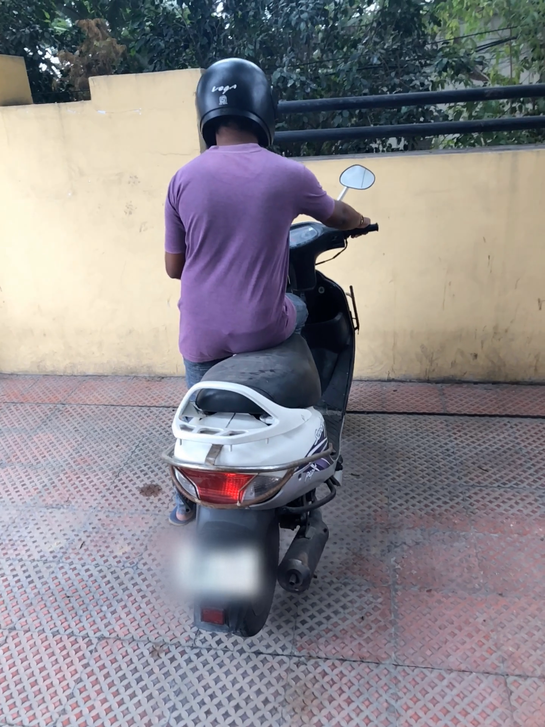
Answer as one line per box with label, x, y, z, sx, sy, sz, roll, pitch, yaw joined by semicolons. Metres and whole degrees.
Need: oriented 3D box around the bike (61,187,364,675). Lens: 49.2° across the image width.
bike;-0.021;0.023;2.131;0.643;0.949;1.508;1;27;11
